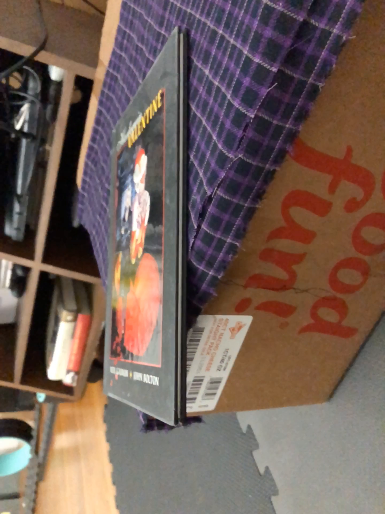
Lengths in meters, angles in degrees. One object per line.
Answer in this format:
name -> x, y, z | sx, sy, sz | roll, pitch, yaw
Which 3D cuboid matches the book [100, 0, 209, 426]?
book -> -0.039, -0.027, 0.349 | 0.181, 0.020, 0.280 | 156, 116, -62
